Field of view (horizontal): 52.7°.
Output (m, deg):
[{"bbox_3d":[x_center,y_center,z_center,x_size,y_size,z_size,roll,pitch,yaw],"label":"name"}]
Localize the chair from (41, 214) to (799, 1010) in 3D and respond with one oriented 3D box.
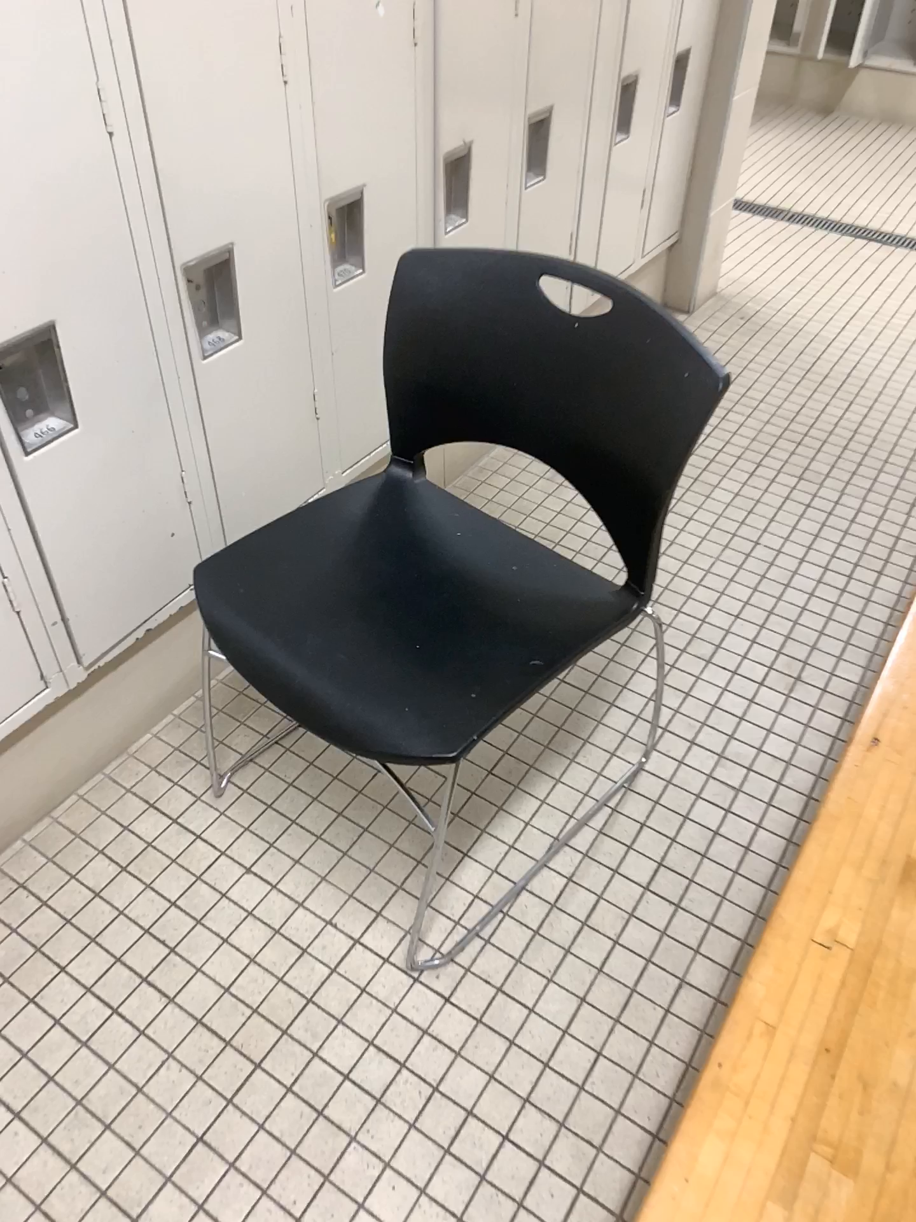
[{"bbox_3d":[-0.024,-0.036,1.144,0.476,0.631,0.614,32,49,30],"label":"chair"}]
